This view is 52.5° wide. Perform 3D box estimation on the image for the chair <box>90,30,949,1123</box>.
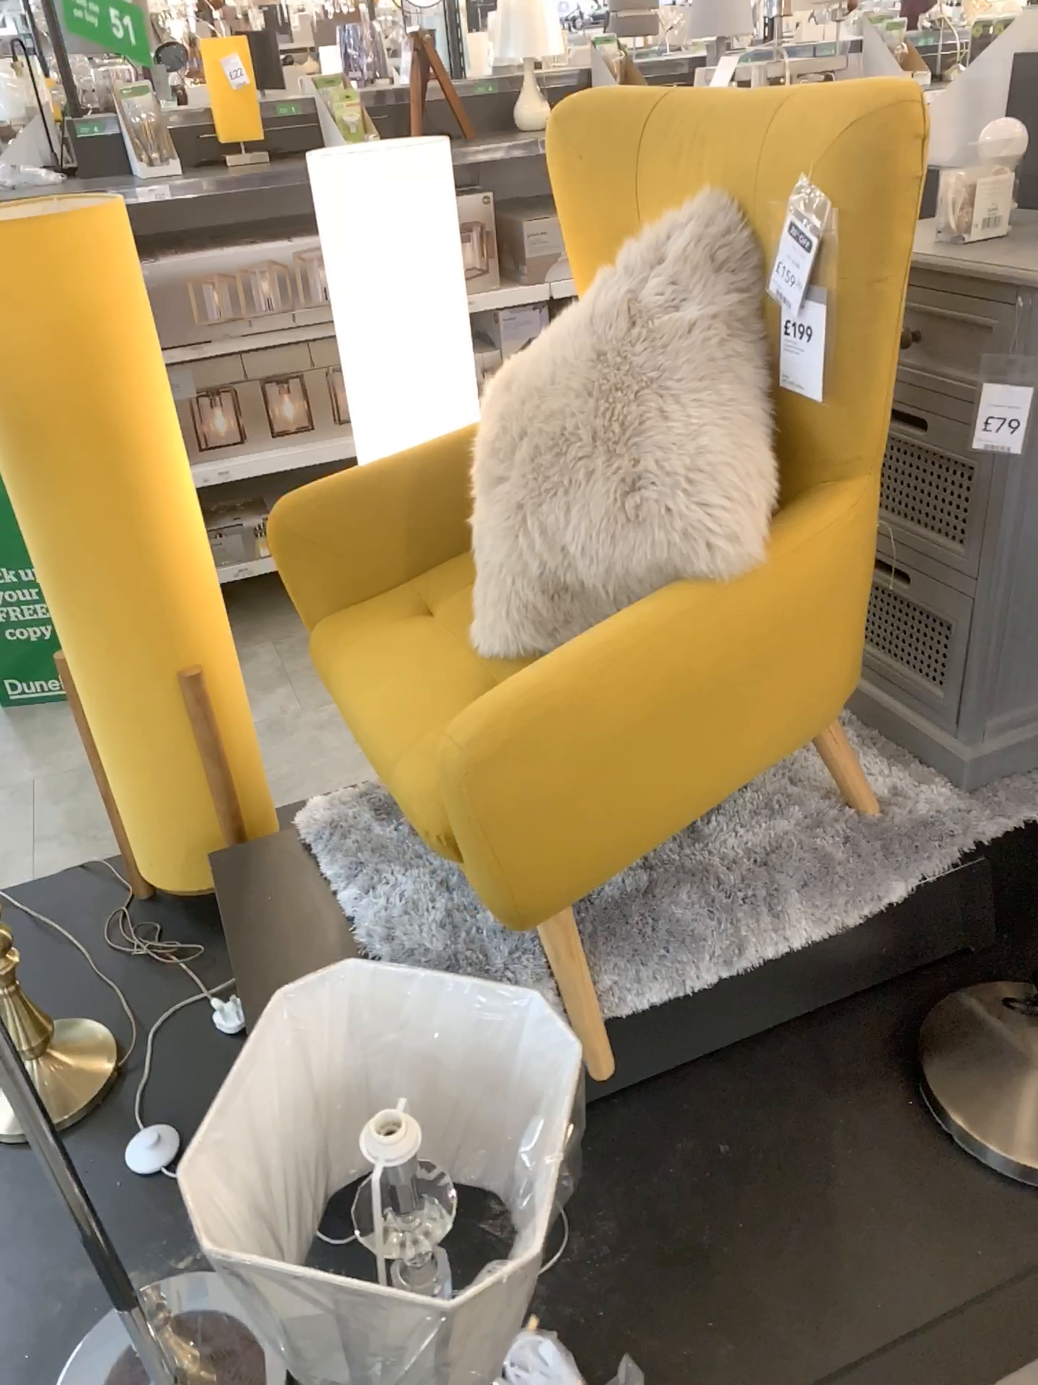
[{"bbox_3d":[0.050,-0.151,1.351,0.711,1.020,0.595,-25,34,-13],"label":"chair"}]
